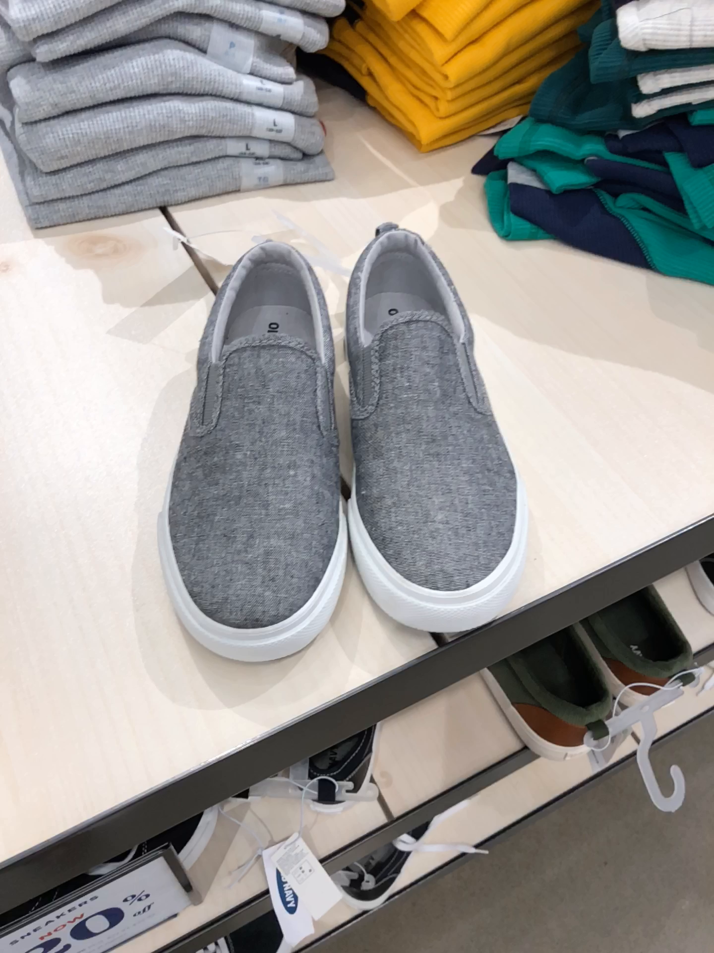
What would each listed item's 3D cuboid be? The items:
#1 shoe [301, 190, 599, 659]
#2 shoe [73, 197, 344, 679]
[{"bbox_3d":[0.028,-0.035,0.386,0.090,0.100,0.211,-5,51,-6],"label":"shoe"},{"bbox_3d":[-0.053,-0.026,0.369,0.090,0.100,0.211,0,51,-2],"label":"shoe"}]
